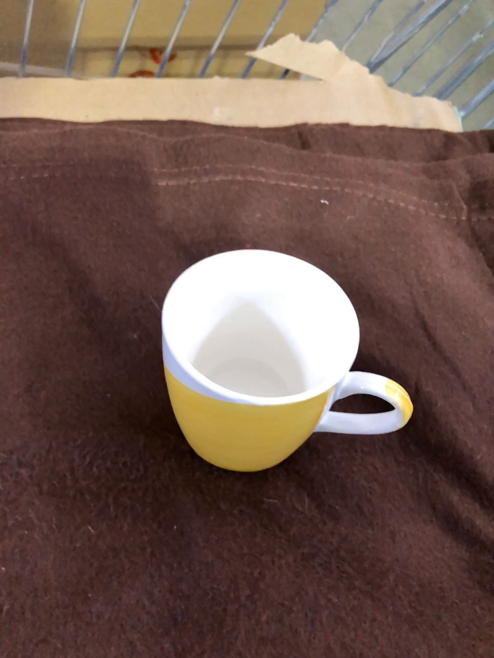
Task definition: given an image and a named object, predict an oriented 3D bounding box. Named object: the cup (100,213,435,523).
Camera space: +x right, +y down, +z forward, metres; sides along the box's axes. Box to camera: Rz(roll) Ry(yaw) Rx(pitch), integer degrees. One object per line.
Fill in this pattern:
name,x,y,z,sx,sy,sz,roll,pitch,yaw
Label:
cup,0.007,0.014,0.193,0.090,0.060,0.060,18,52,6
